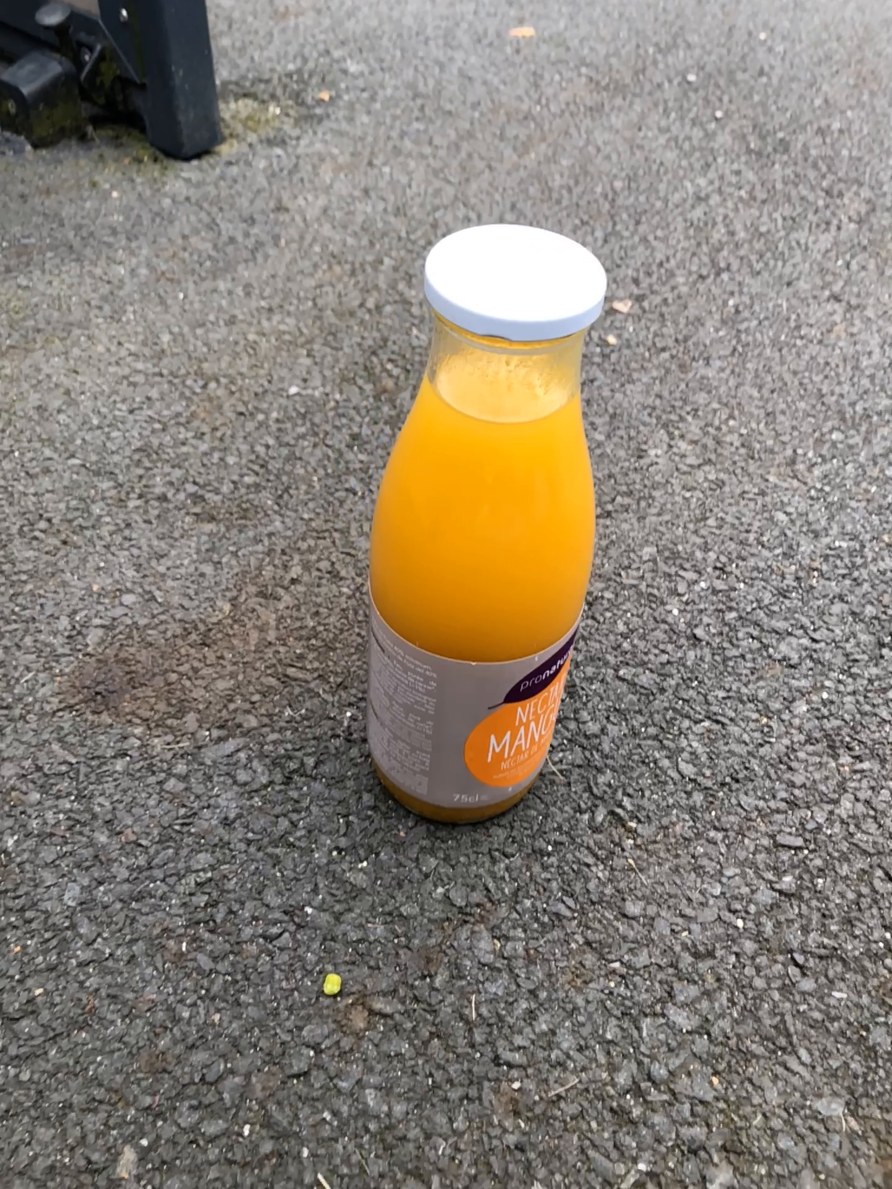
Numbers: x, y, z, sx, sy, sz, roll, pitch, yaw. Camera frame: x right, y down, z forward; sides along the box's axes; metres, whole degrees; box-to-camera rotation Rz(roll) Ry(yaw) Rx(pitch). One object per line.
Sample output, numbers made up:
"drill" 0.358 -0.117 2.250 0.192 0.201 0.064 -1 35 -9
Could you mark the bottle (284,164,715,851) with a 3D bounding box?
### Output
"bottle" 0.009 -0.017 0.333 0.080 0.209 0.080 2 46 -2
